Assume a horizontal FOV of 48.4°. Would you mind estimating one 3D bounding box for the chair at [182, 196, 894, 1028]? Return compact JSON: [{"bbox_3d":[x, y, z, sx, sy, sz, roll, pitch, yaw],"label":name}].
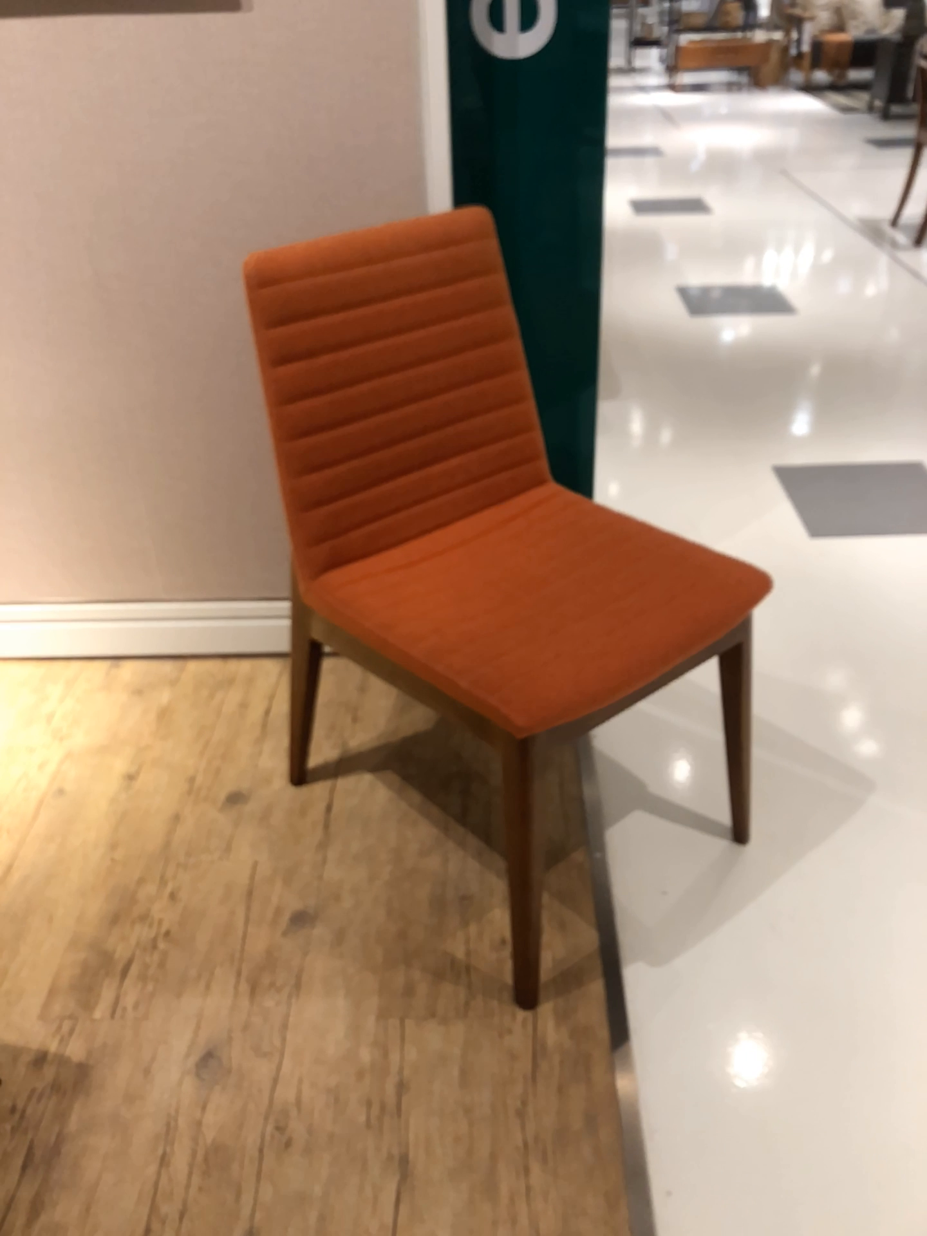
[{"bbox_3d":[0.077,-0.060,1.411,0.532,0.814,0.633,-26,40,-32],"label":"chair"}]
